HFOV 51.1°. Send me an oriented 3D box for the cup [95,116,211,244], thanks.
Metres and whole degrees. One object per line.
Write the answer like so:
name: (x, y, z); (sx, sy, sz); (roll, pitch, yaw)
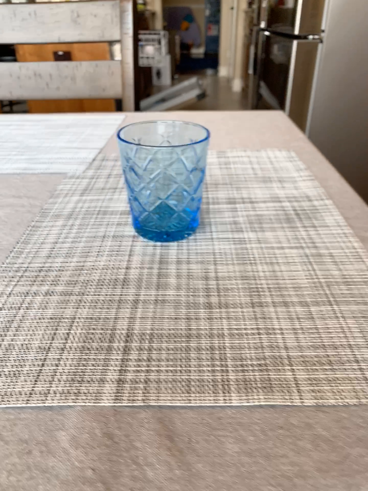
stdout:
cup: (-0.021, -0.062, 0.351); (0.087, 0.085, 0.093); (-1, 32, 1)
